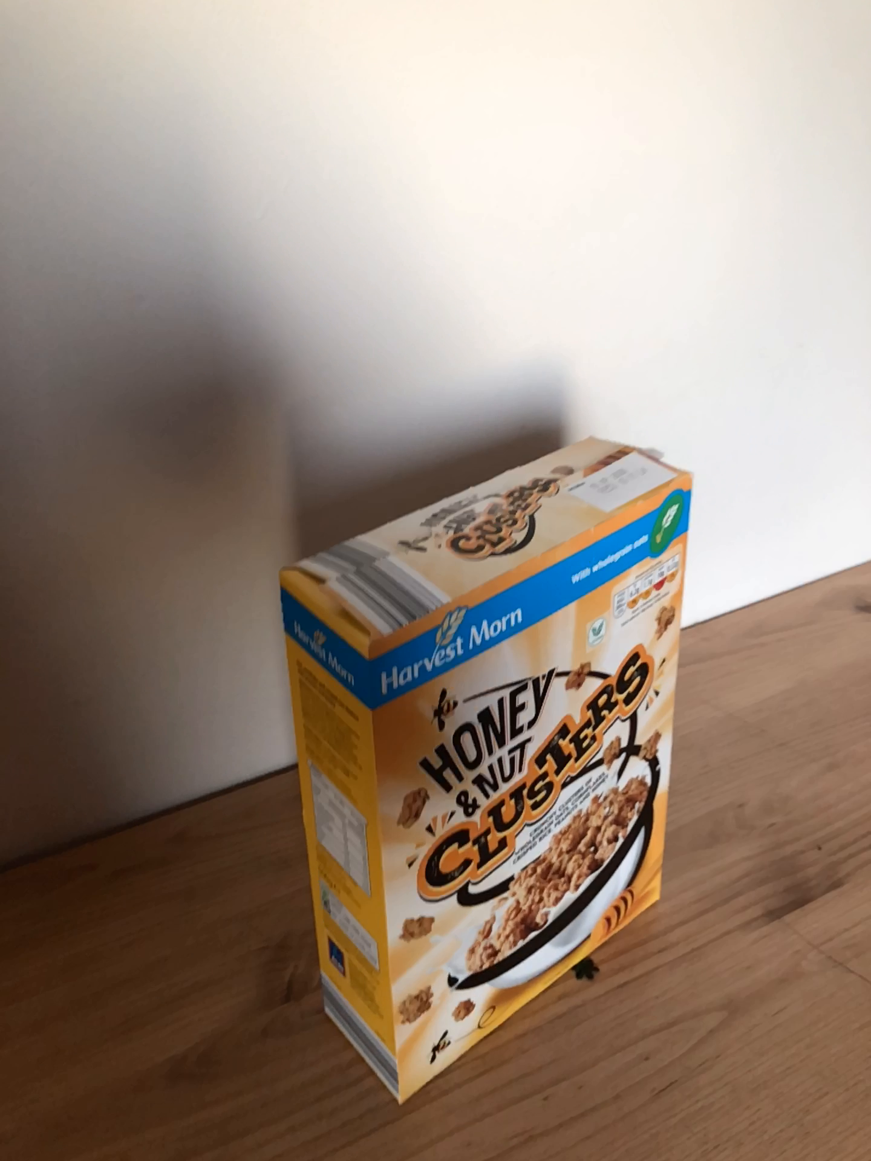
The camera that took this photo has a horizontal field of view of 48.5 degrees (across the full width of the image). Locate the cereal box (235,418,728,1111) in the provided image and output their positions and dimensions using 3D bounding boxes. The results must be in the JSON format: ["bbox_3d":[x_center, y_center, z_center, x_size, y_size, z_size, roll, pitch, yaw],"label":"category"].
[{"bbox_3d":[0.028,0.079,0.434,0.190,0.248,0.070,-24,38,-32],"label":"cereal box"}]
